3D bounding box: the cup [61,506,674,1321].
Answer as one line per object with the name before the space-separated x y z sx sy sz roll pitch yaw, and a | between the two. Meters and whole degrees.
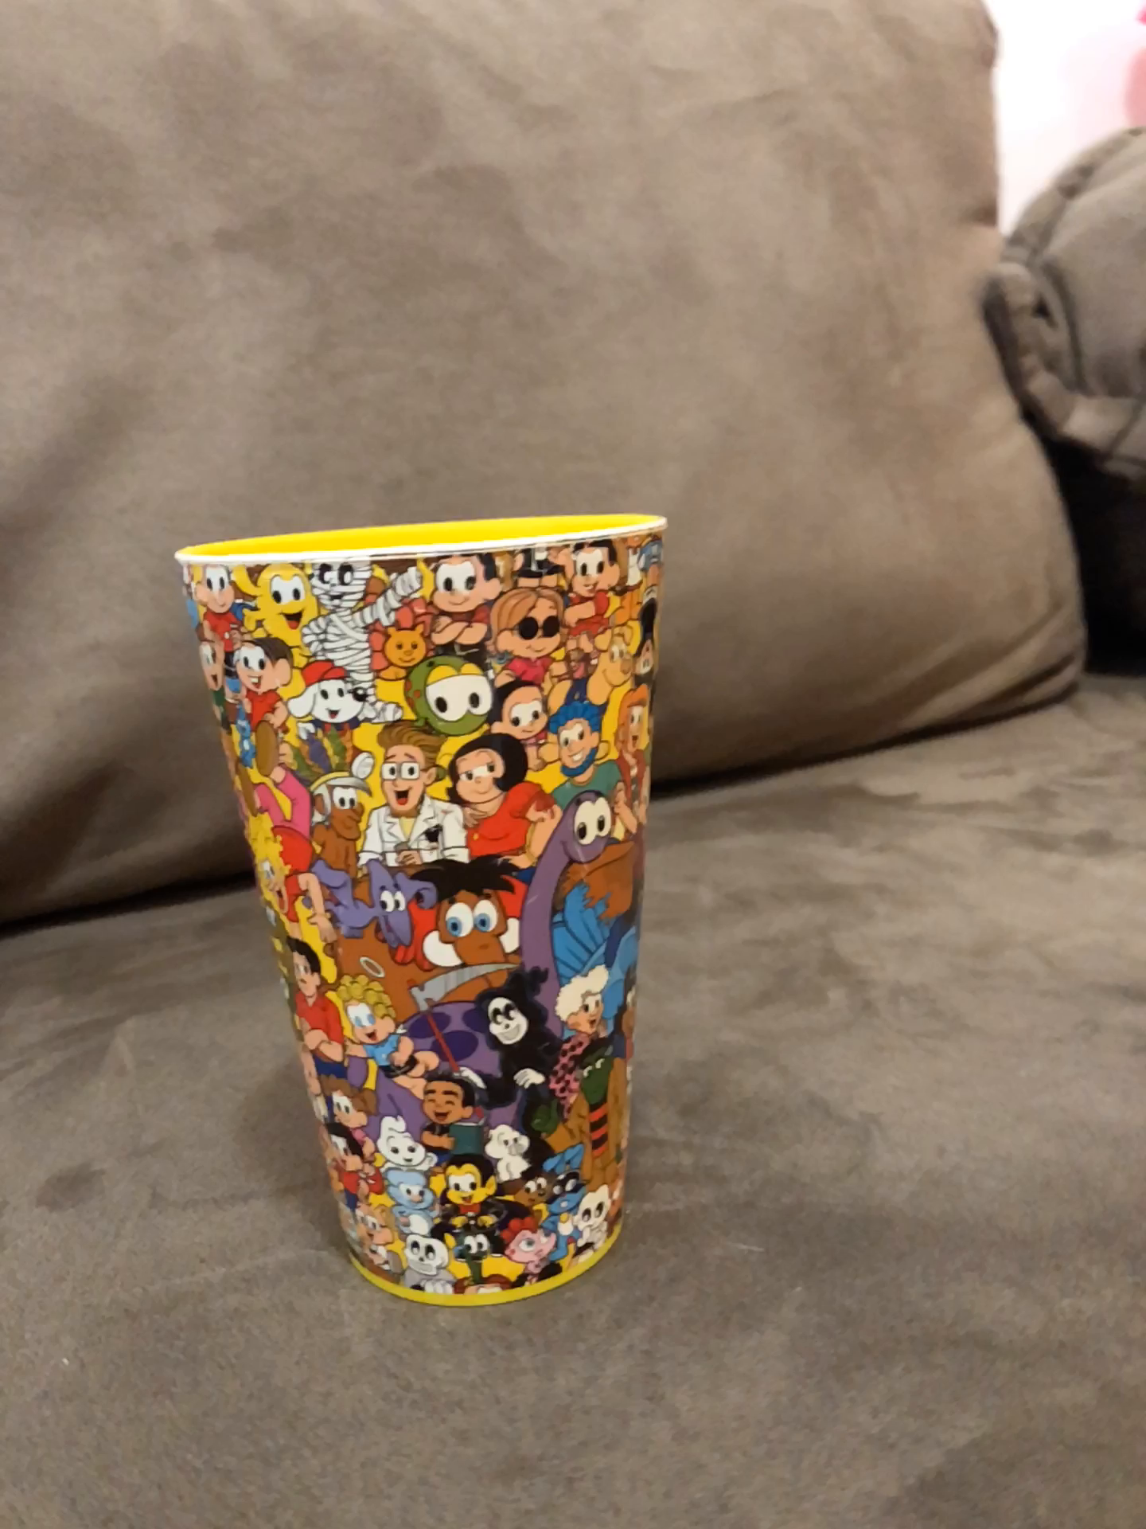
cup | -0.030 0.023 0.264 0.090 0.139 0.090 -5 12 1
